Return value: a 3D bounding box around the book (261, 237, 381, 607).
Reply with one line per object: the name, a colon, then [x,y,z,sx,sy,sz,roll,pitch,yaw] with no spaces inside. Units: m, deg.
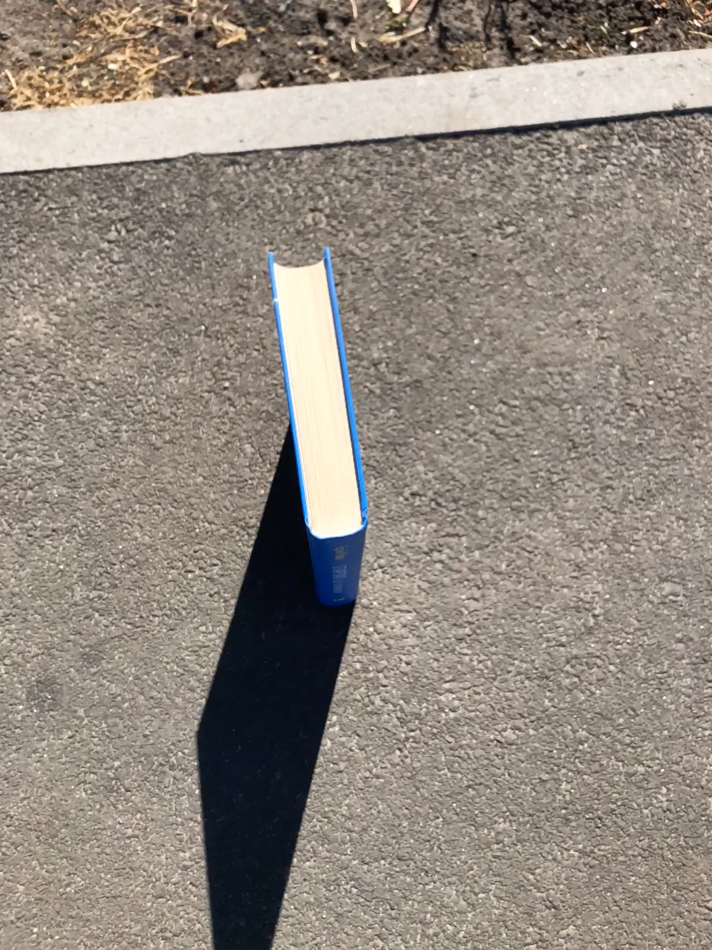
book: [-0.017,-0.014,0.469,0.038,0.205,0.155,-7,73,-2]
